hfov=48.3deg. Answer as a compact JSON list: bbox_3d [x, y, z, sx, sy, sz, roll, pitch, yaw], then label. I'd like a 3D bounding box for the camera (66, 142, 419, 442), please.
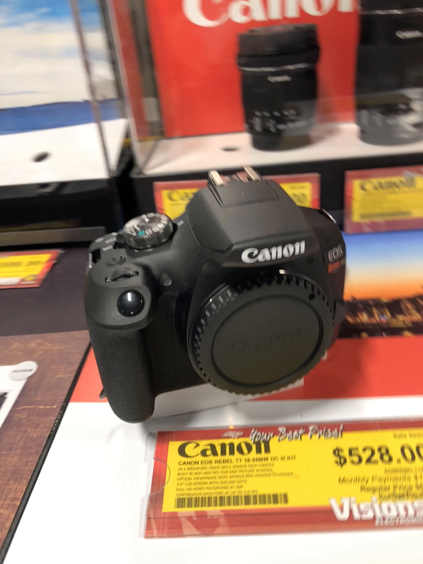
[{"bbox_3d":[0.010,-0.002,0.230,0.130,0.089,0.091,-10,32,-6],"label":"camera"}]
